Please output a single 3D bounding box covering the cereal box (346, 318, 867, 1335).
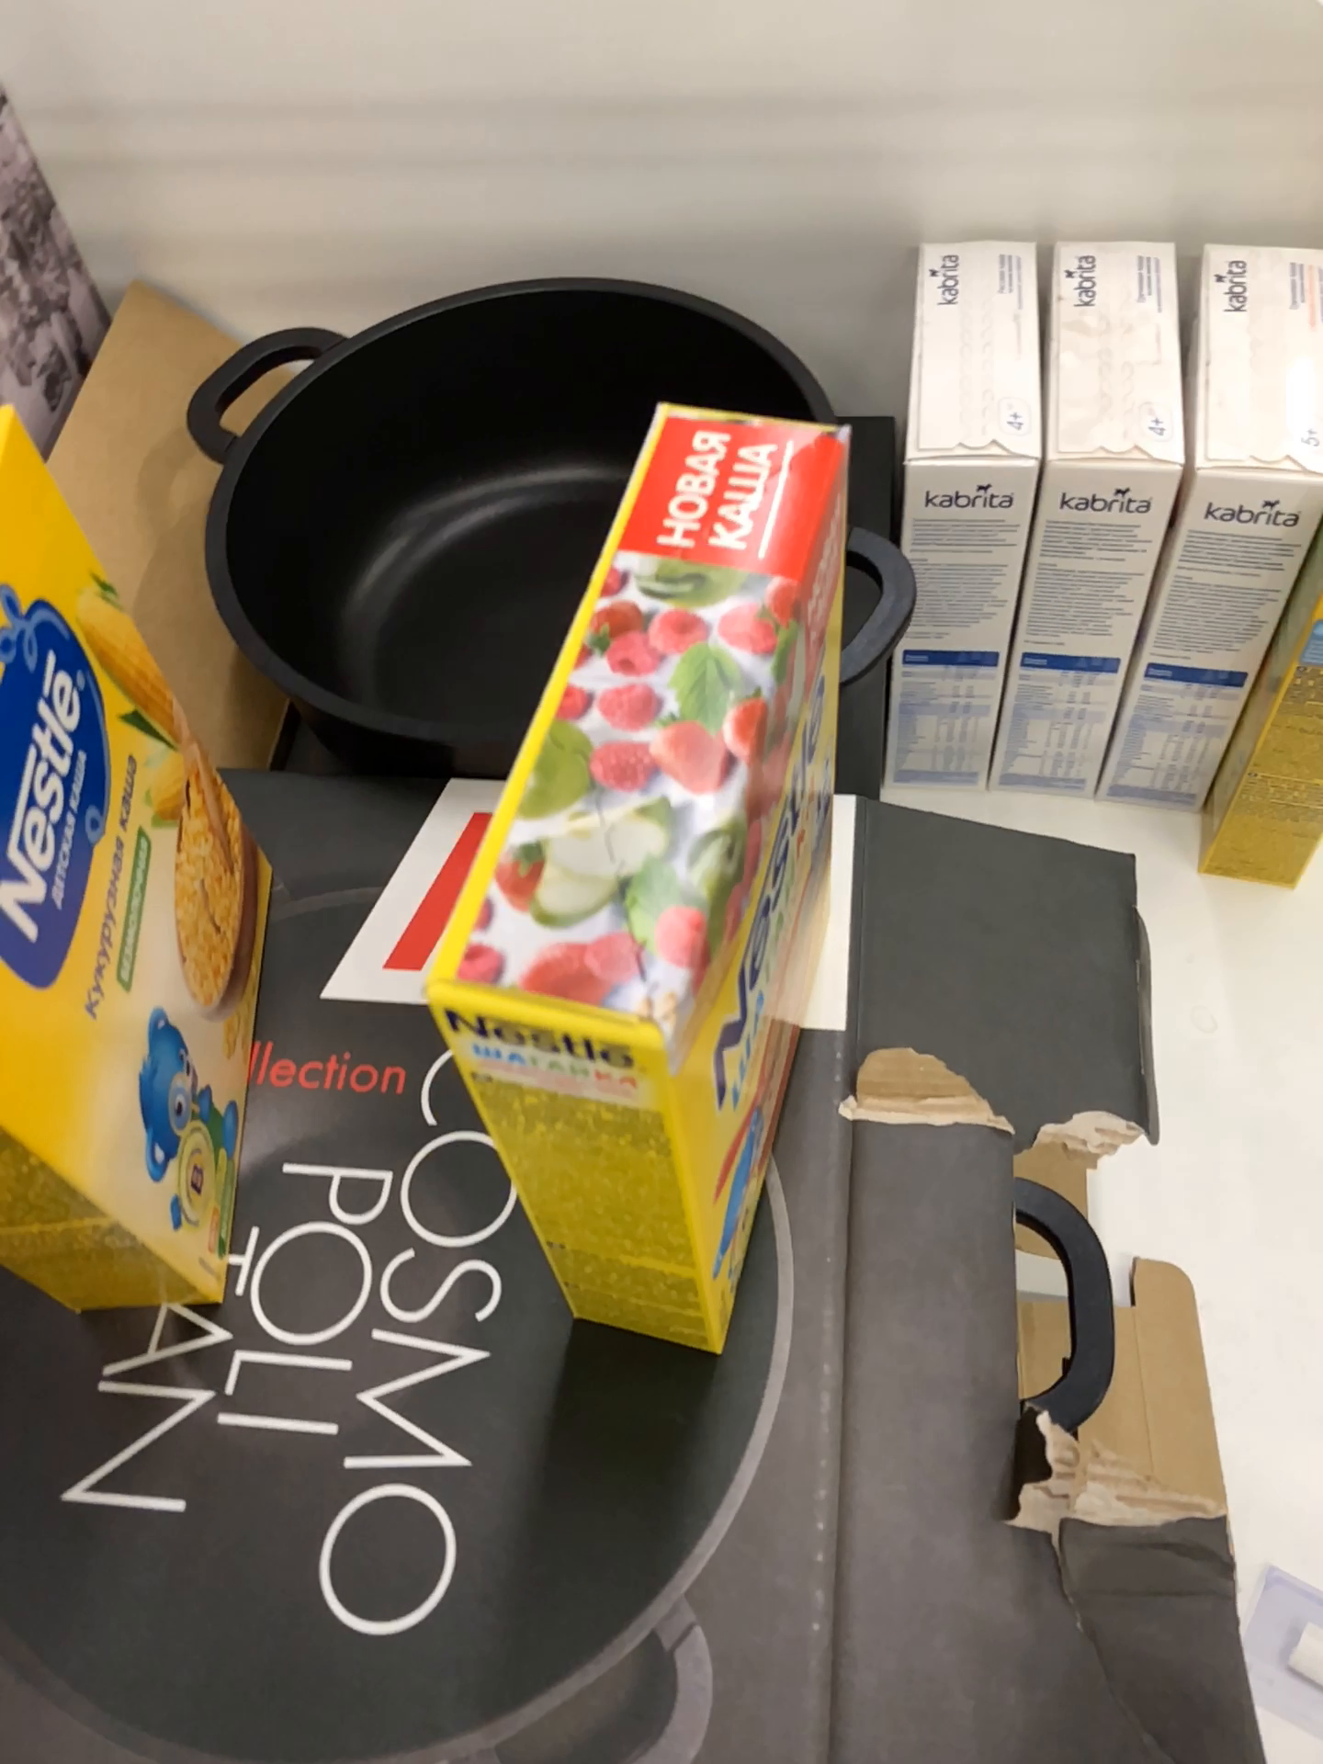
[{"bbox_3d":[0.005,0.001,0.356,0.050,0.199,0.161,12,61,13],"label":"cereal box"}]

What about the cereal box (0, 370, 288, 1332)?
[{"bbox_3d":[-0.157,0.007,0.370,0.050,0.199,0.161,-5,59,3],"label":"cereal box"}]
